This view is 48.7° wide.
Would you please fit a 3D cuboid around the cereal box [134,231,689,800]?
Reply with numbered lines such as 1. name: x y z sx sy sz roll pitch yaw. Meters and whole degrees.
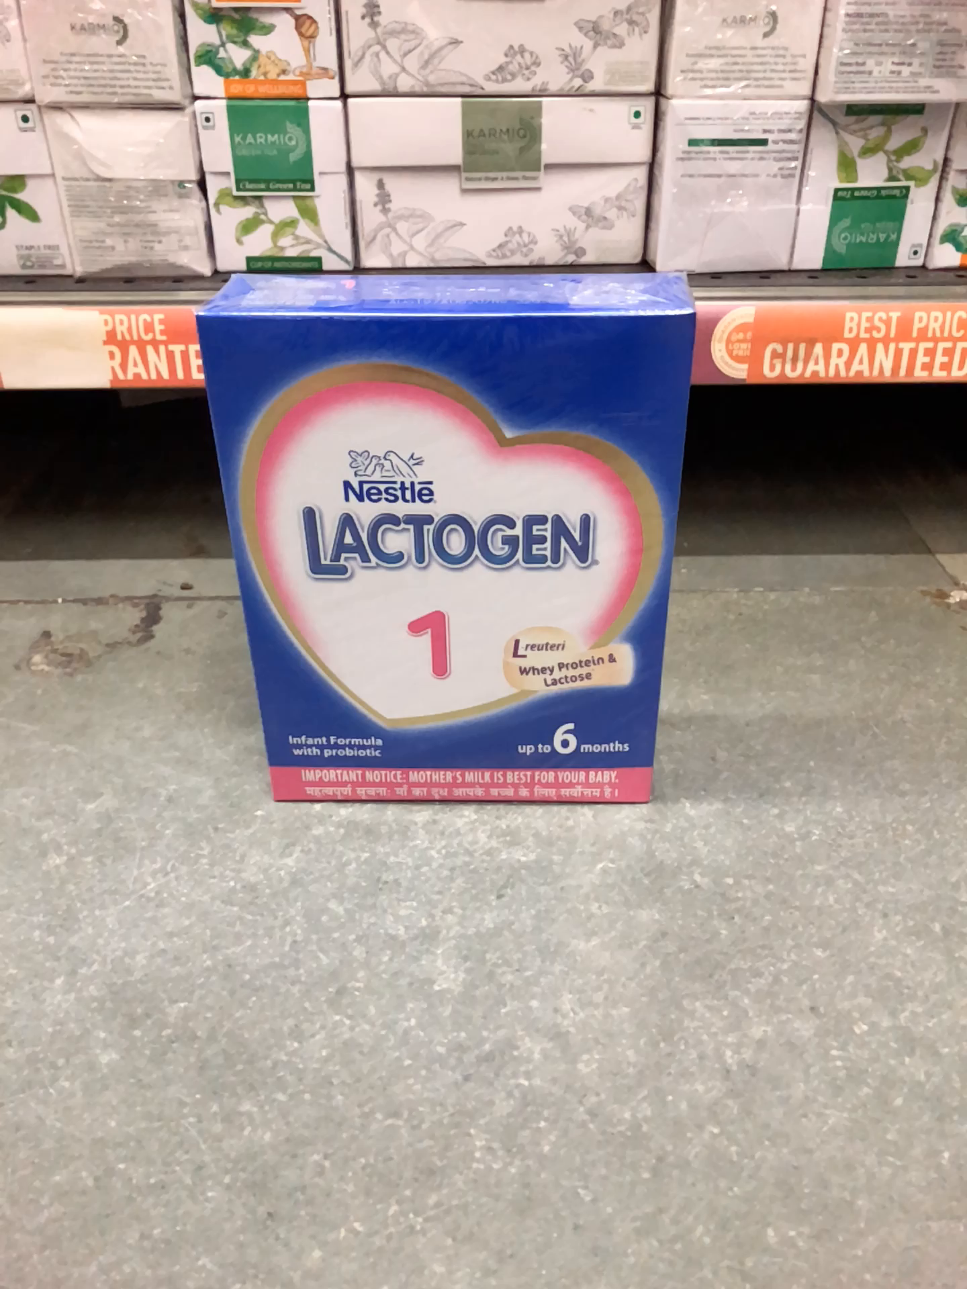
1. cereal box: -0.020 -0.038 0.382 0.160 0.199 0.050 0 32 1
